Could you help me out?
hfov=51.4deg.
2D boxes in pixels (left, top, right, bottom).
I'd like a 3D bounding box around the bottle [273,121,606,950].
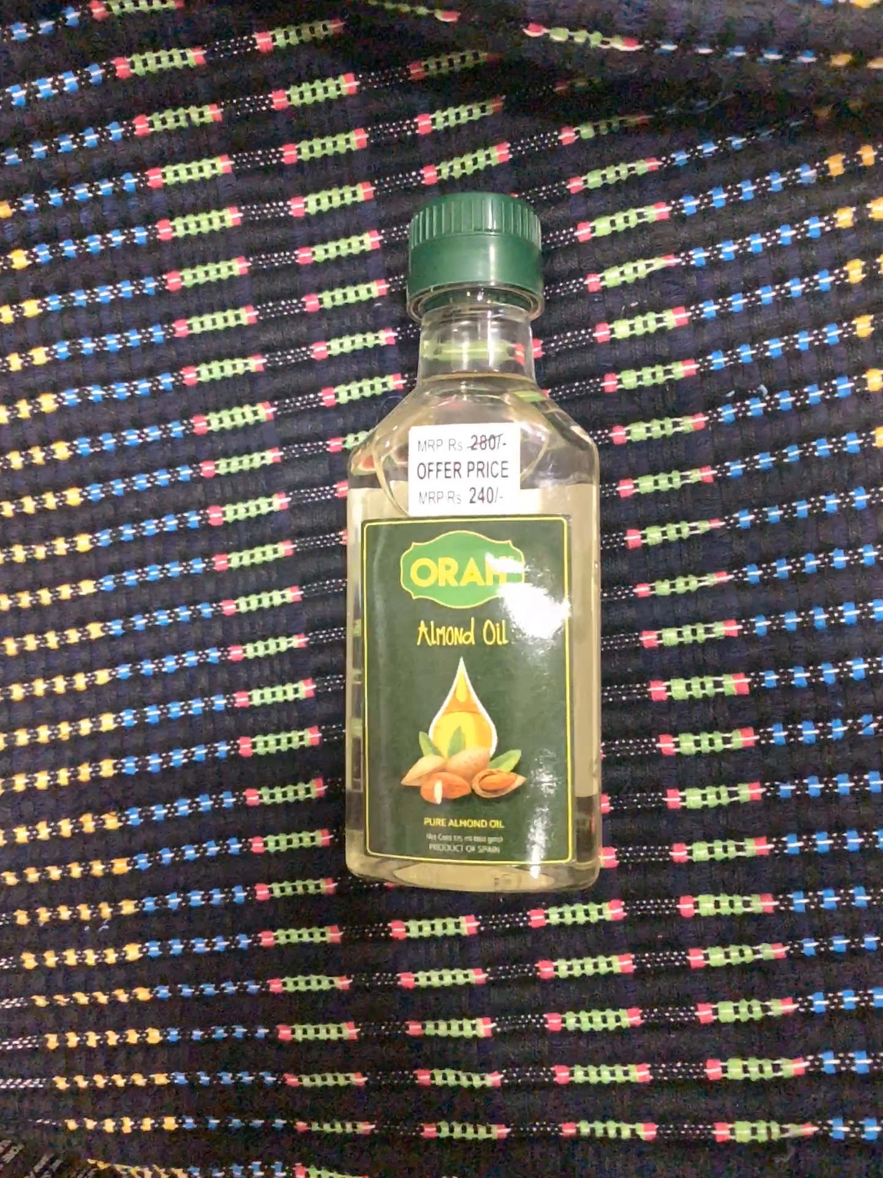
[{"bbox_3d":[0.002,-0.011,0.186,0.060,0.030,0.150,0,86,12],"label":"bottle"}]
